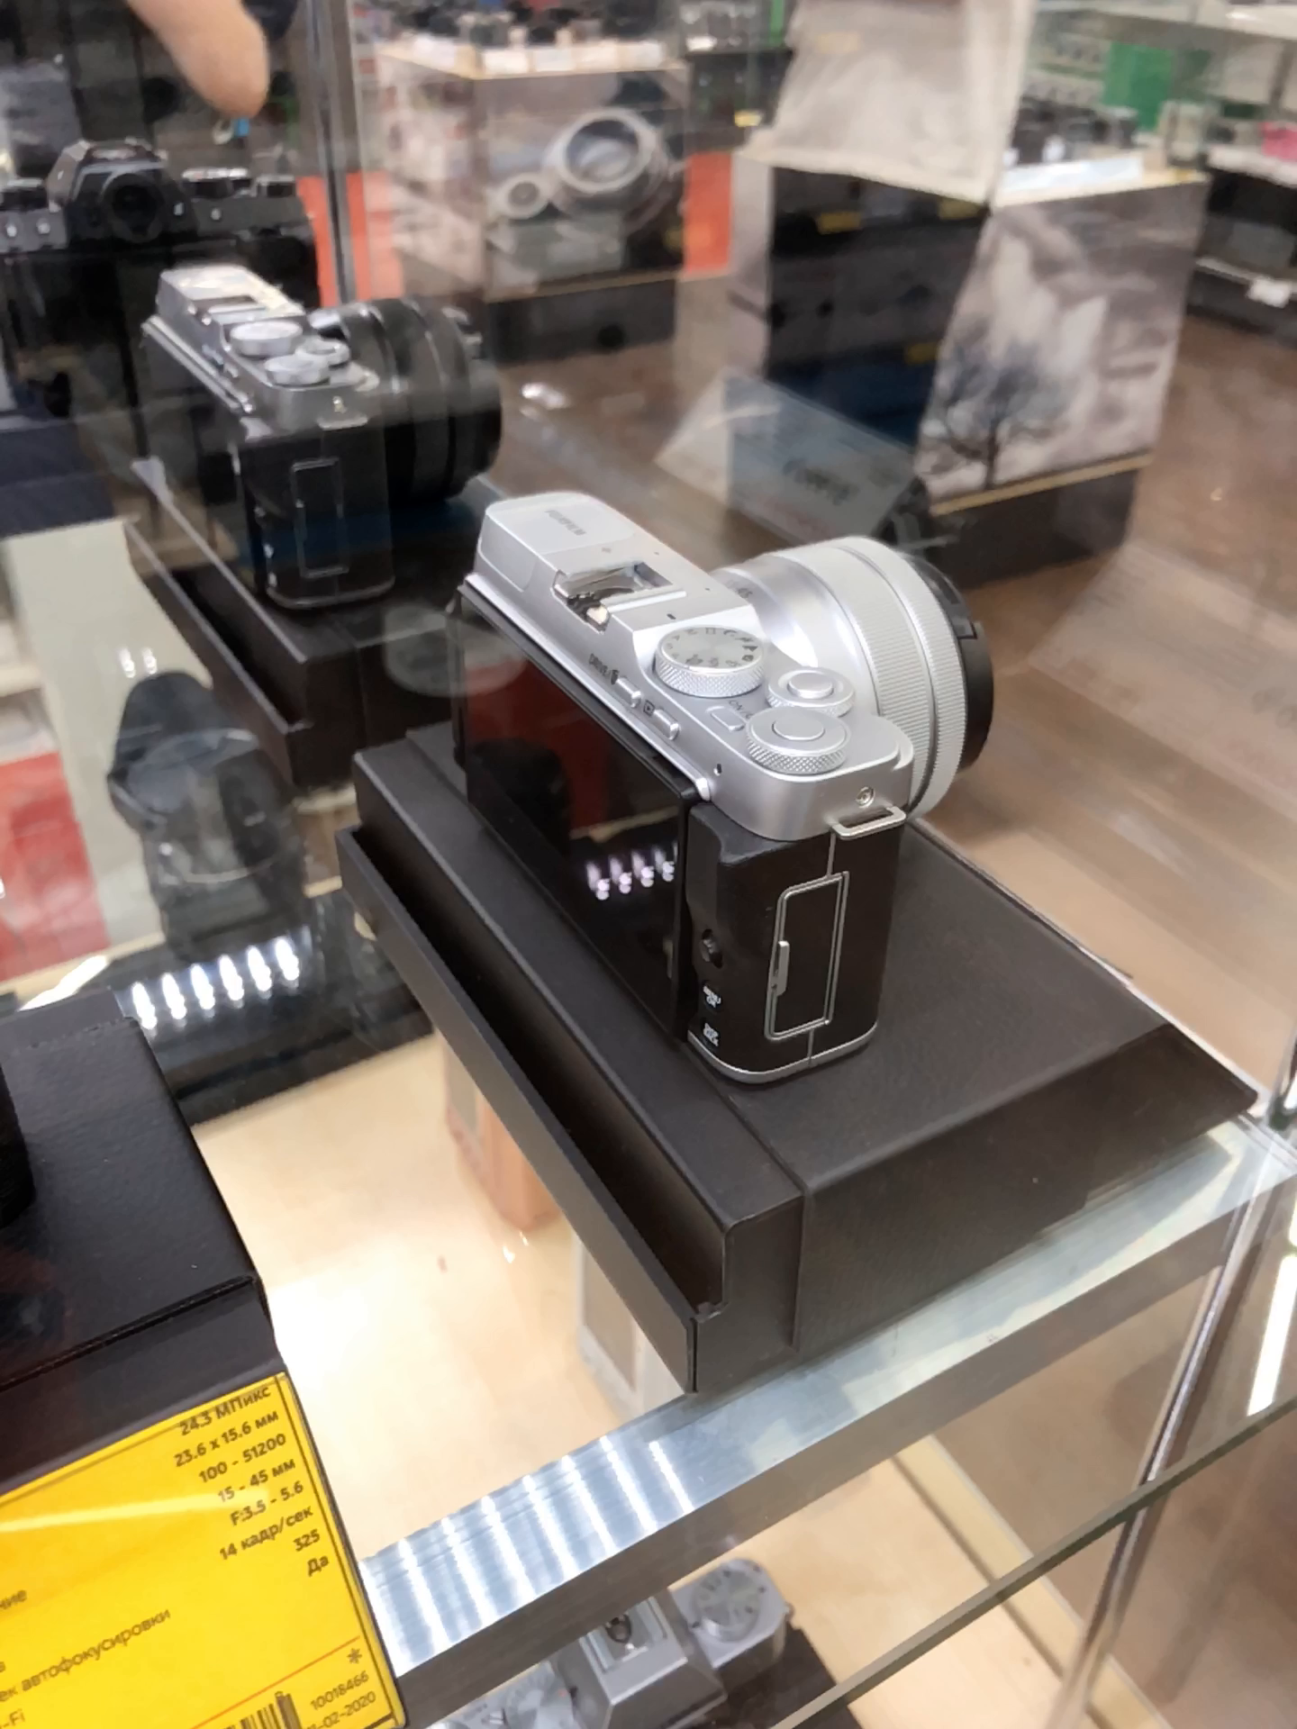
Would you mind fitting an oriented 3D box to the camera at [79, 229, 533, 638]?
[{"bbox_3d":[-0.106,-0.139,0.450,0.096,0.080,0.115,-18,39,-25],"label":"camera"}]

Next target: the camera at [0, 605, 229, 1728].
[{"bbox_3d":[-0.129,0.035,0.177,0.115,0.080,0.097,-19,40,-26],"label":"camera"}]

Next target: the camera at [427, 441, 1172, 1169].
[{"bbox_3d":[0.021,-0.022,0.296,0.084,0.080,0.126,-17,39,-24],"label":"camera"}]
